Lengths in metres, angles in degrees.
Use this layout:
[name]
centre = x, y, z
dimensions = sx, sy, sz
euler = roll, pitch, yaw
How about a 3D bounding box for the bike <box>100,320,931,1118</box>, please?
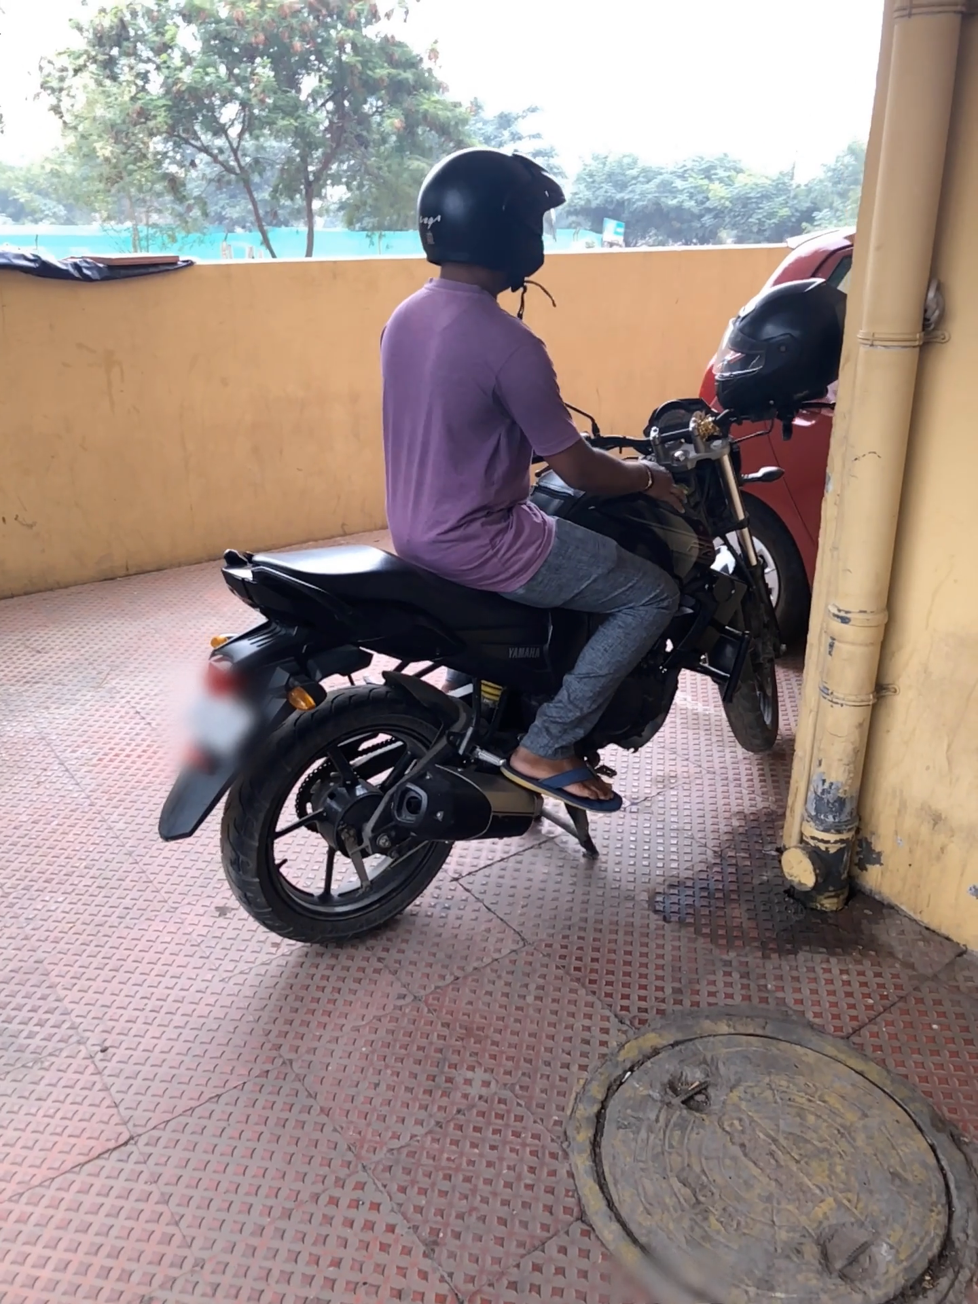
[bike]
centre = 0.187, -0.094, 2.649
dimensions = 0.855, 1.155, 1.910
euler = 21, 31, 41
